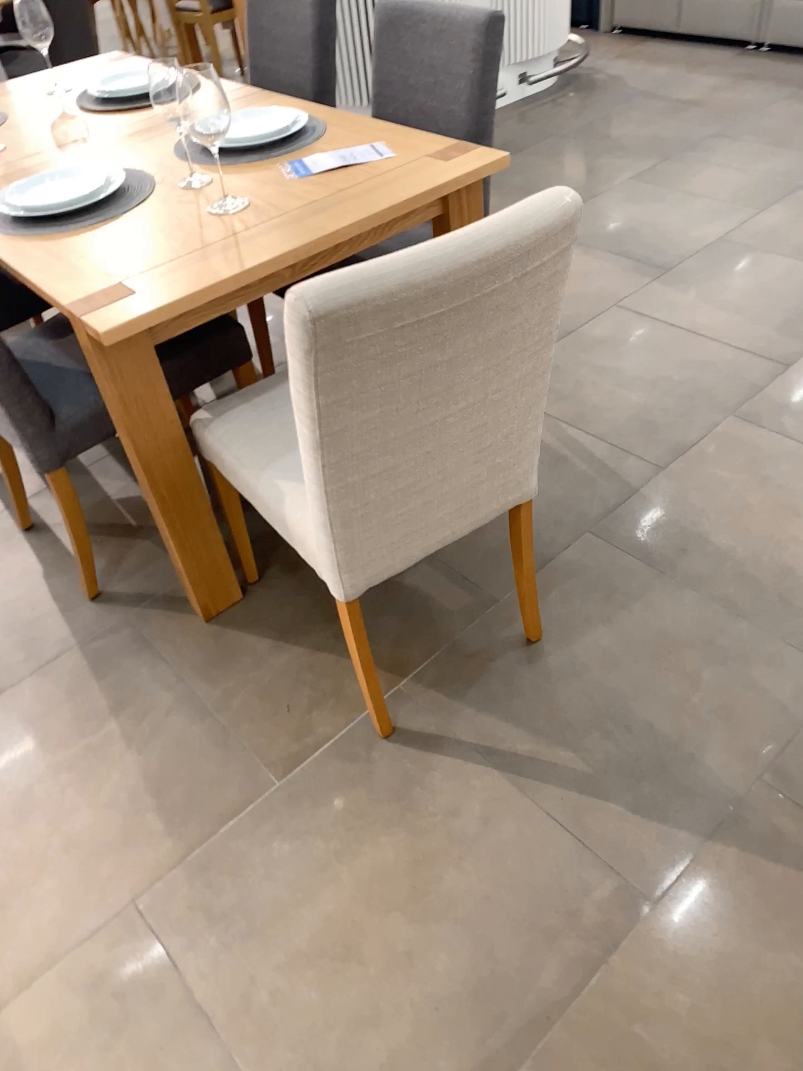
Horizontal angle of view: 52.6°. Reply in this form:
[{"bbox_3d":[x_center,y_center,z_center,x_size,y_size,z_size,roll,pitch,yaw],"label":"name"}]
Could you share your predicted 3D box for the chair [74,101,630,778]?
[{"bbox_3d":[-0.064,-0.181,1.420,0.537,0.838,0.647,-28,45,-21],"label":"chair"}]
